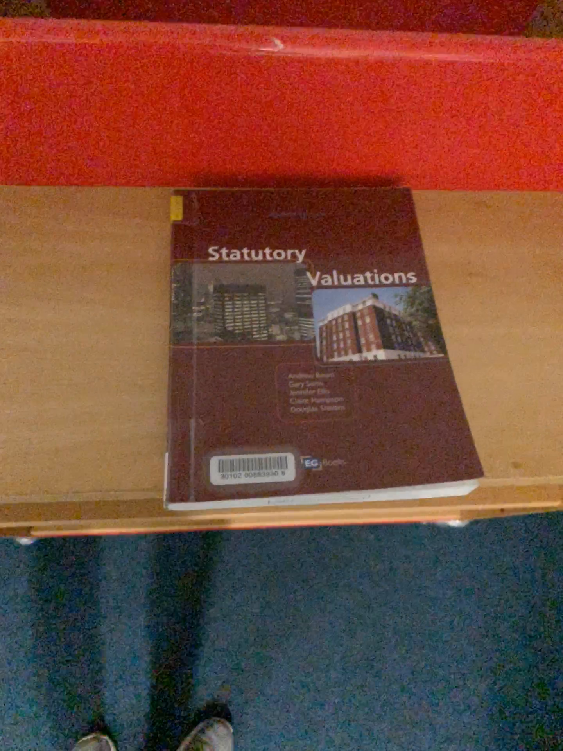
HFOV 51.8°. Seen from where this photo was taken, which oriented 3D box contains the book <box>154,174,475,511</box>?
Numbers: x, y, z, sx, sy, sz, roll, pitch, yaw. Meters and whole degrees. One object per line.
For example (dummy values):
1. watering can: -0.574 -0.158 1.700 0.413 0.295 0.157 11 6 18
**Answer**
1. book: 0.013 -0.038 0.407 0.188 0.027 0.253 -1 62 -5
